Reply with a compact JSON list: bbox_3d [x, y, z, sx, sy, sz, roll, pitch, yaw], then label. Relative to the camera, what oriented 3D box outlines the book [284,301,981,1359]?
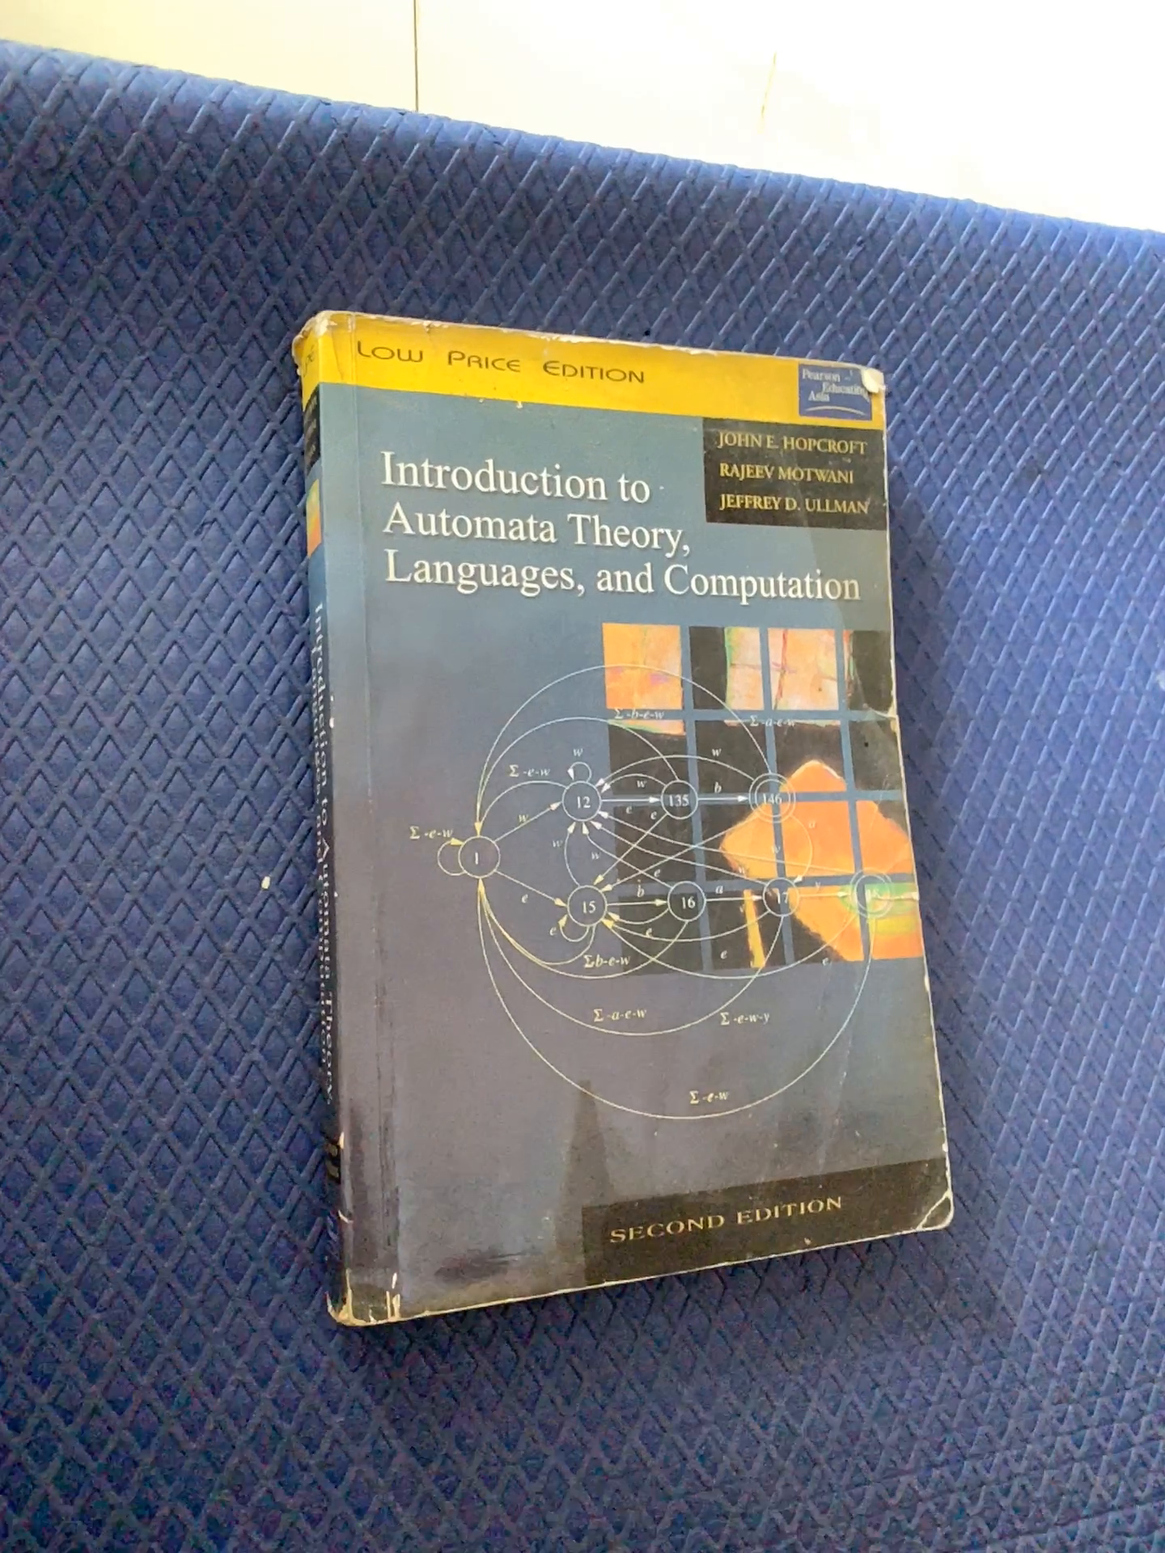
[{"bbox_3d":[0.008,0.006,0.308,0.150,0.050,0.230,-2,82,-19],"label":"book"}]
